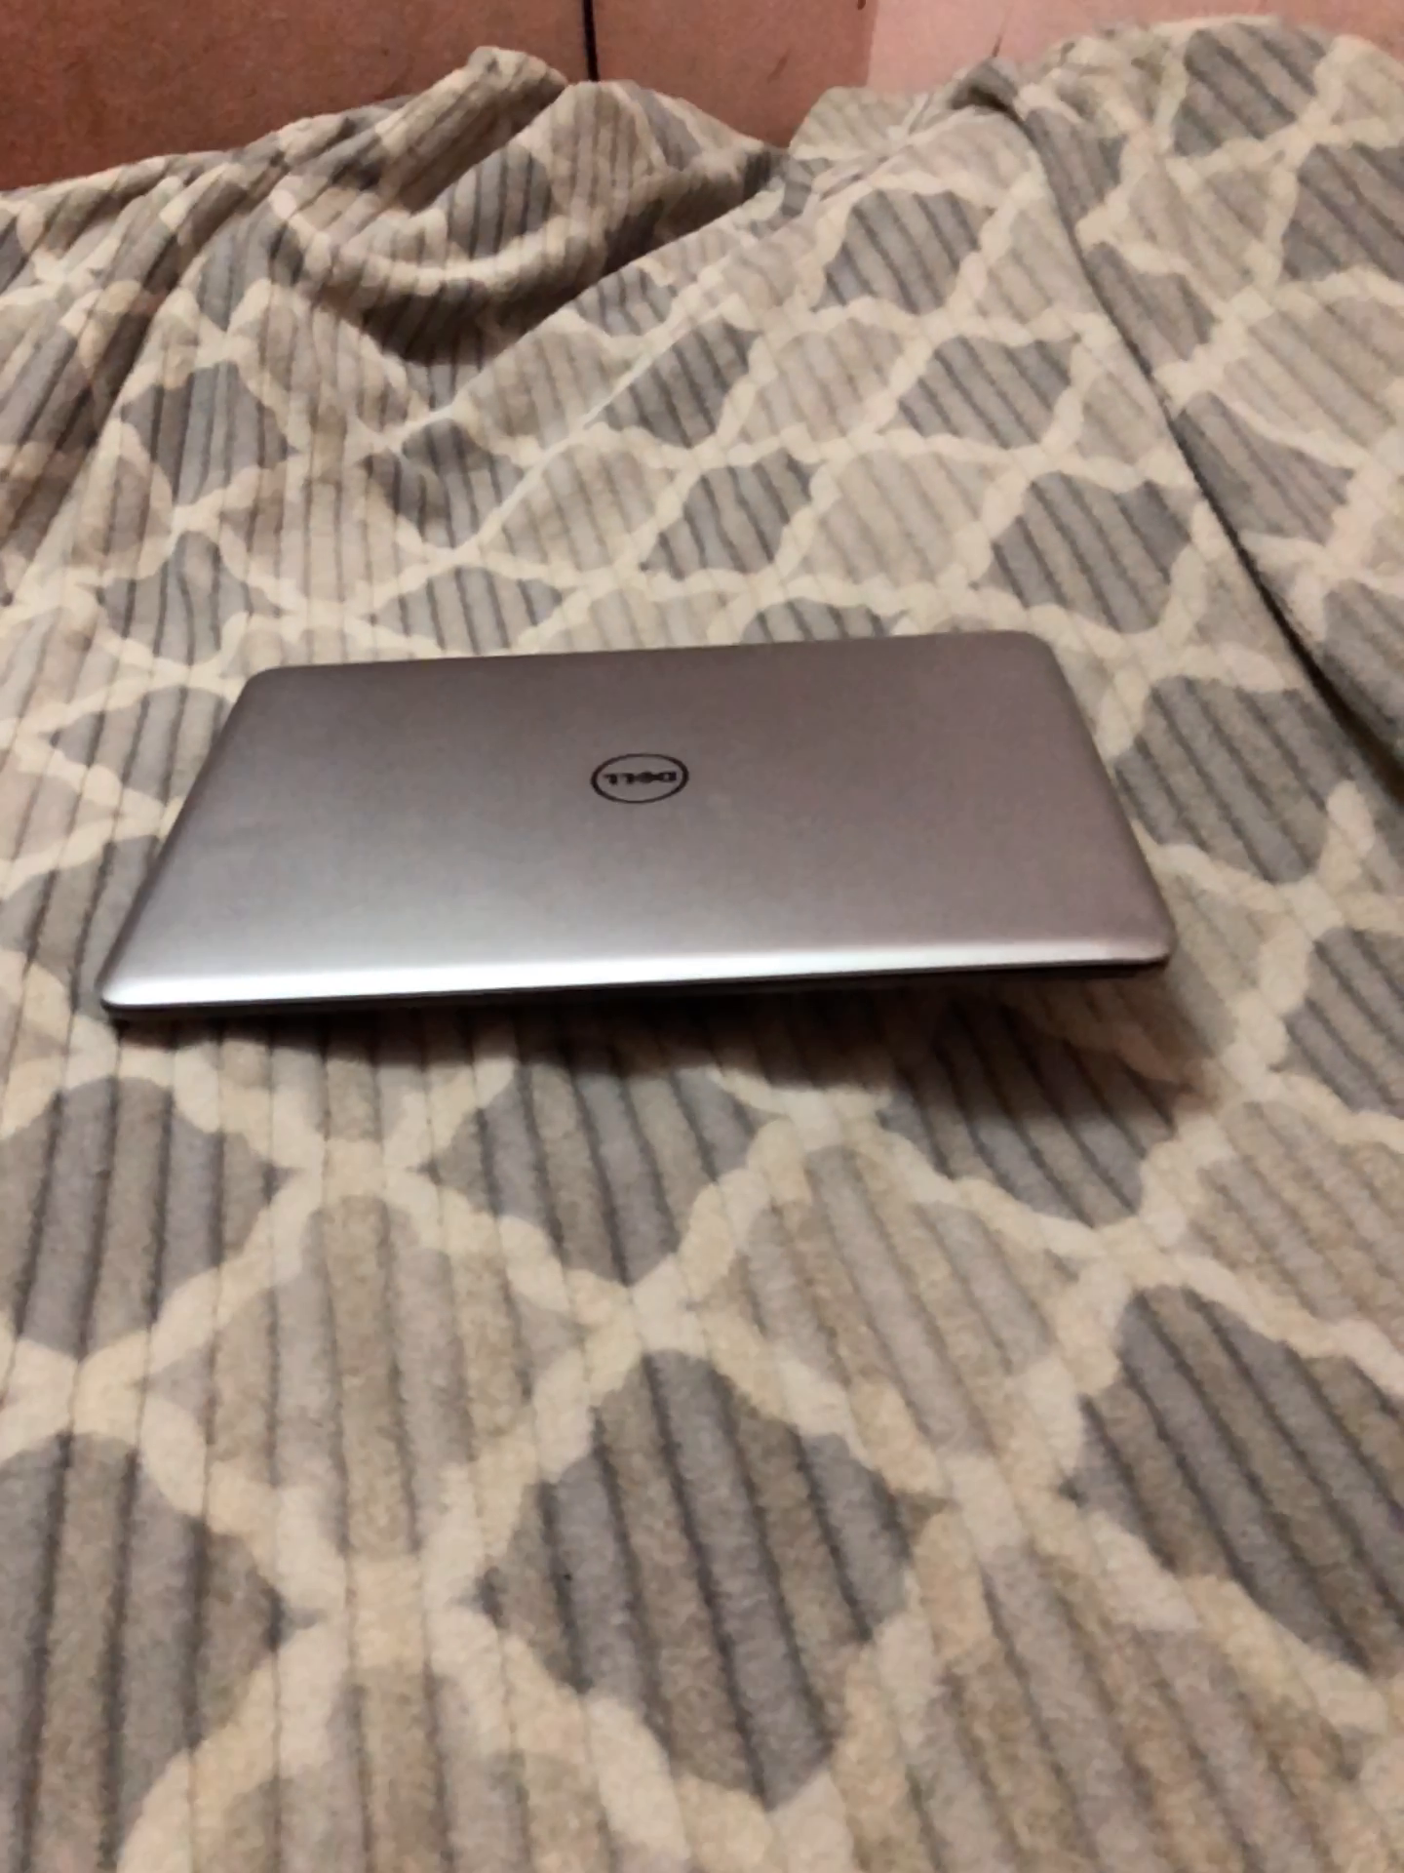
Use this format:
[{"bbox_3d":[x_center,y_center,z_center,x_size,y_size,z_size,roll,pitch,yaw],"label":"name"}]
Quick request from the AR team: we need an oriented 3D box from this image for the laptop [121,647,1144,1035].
[{"bbox_3d":[-0.027,-0.052,0.640,0.359,0.007,0.253,-3,37,1],"label":"laptop"}]
